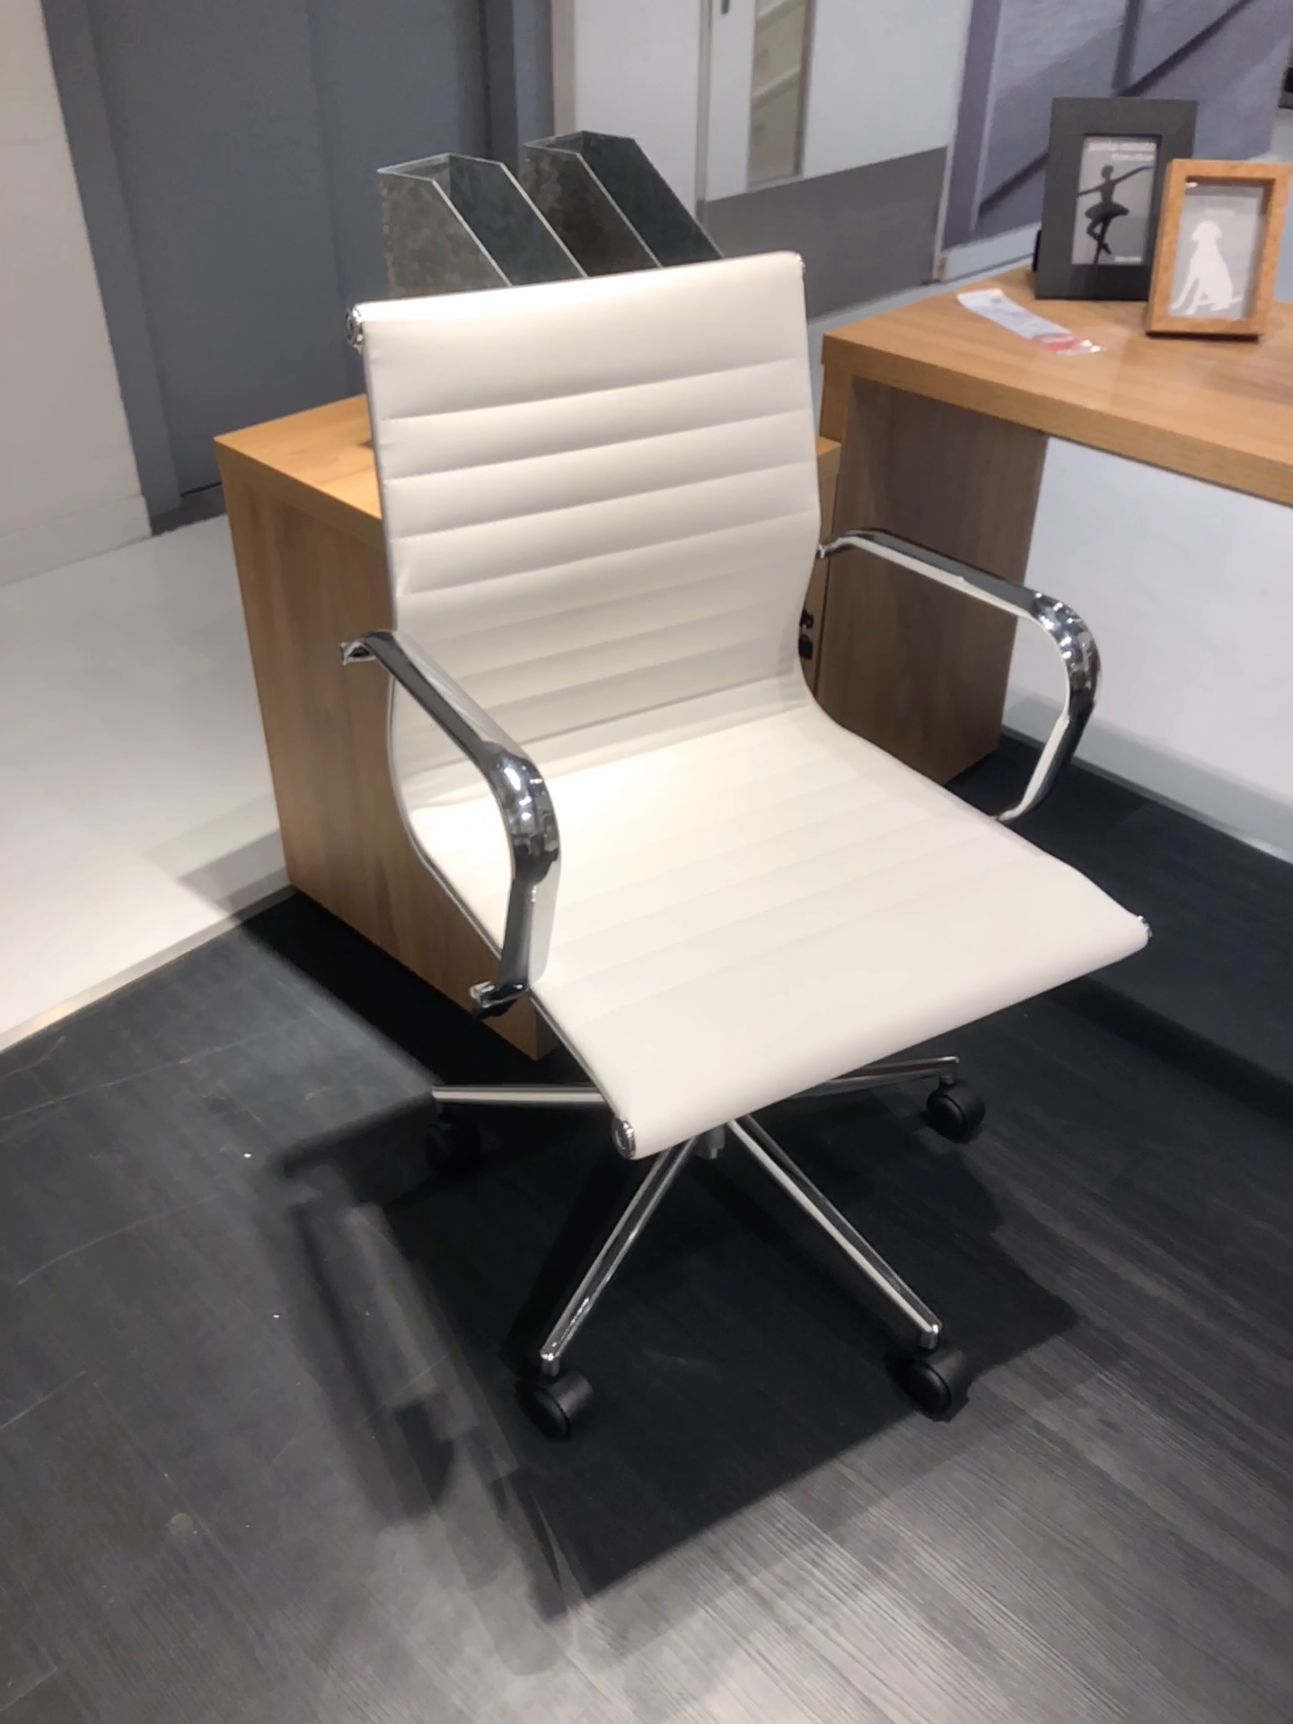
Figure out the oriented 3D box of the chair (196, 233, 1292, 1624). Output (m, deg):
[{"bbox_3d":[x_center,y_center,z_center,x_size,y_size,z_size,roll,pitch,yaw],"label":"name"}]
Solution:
[{"bbox_3d":[0.058,0.008,1.392,0.652,0.953,0.764,-16,39,-22],"label":"chair"}]
